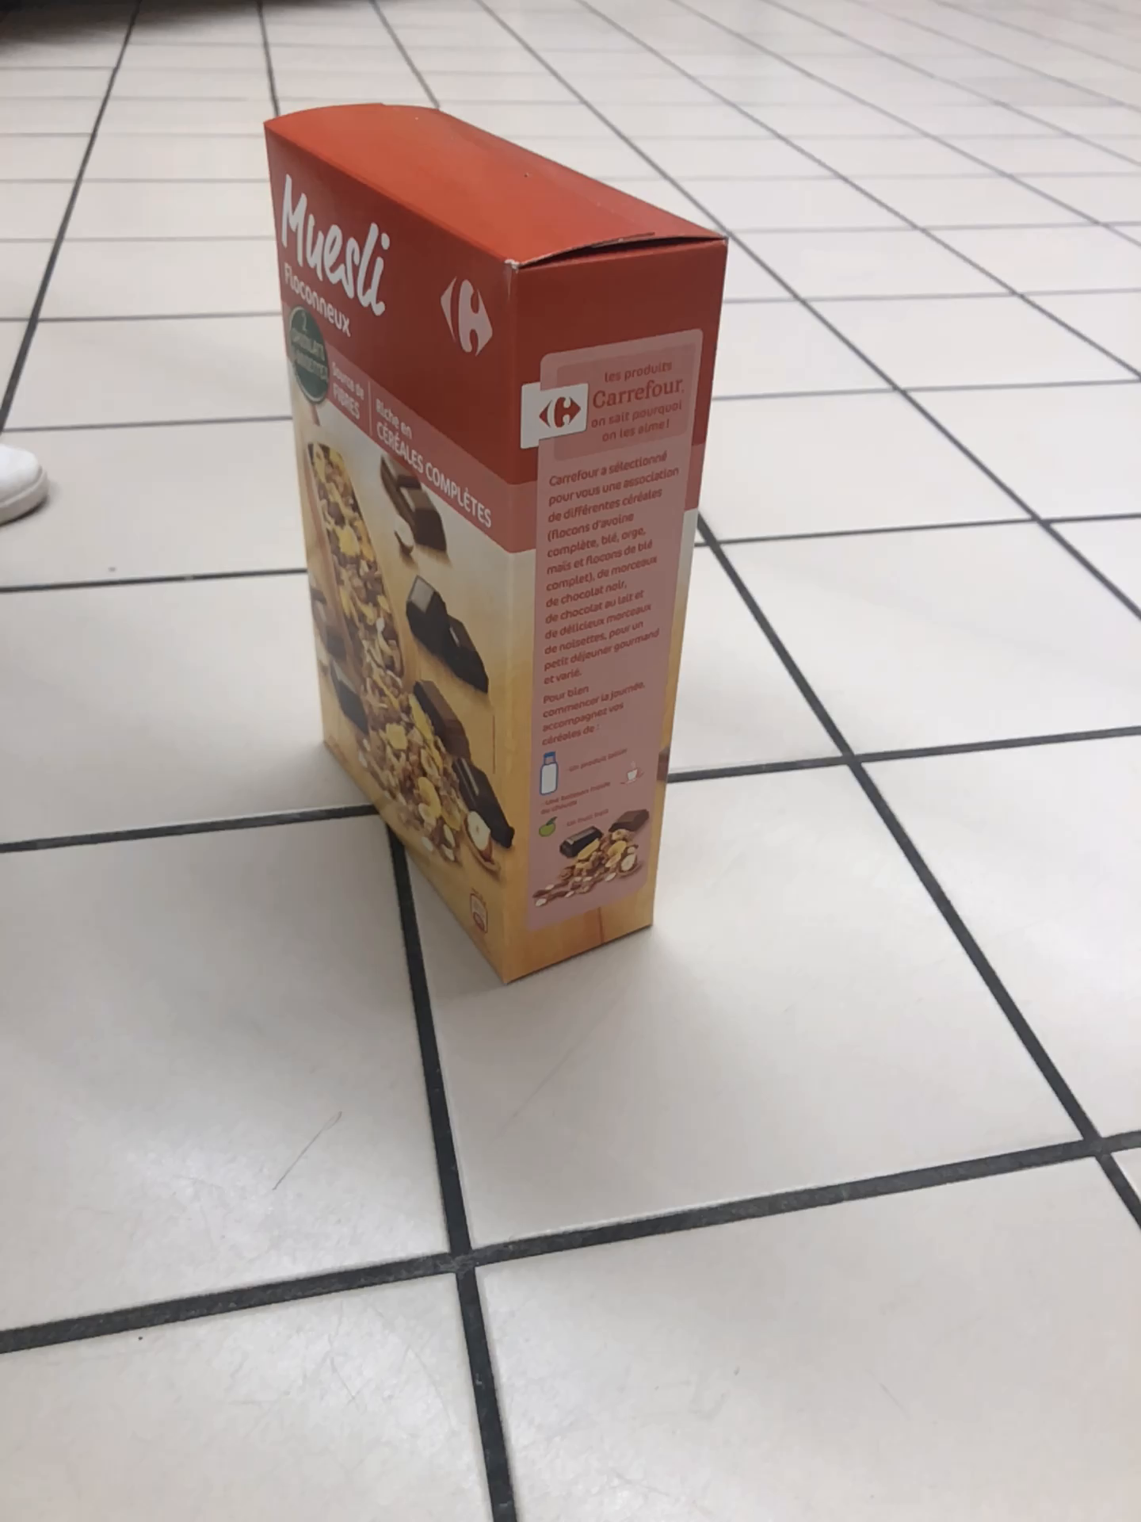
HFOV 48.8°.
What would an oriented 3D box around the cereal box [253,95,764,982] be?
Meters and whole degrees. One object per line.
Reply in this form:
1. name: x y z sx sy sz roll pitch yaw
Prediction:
1. cereal box: -0.032 -0.075 0.429 0.070 0.239 0.170 -19 43 -26
